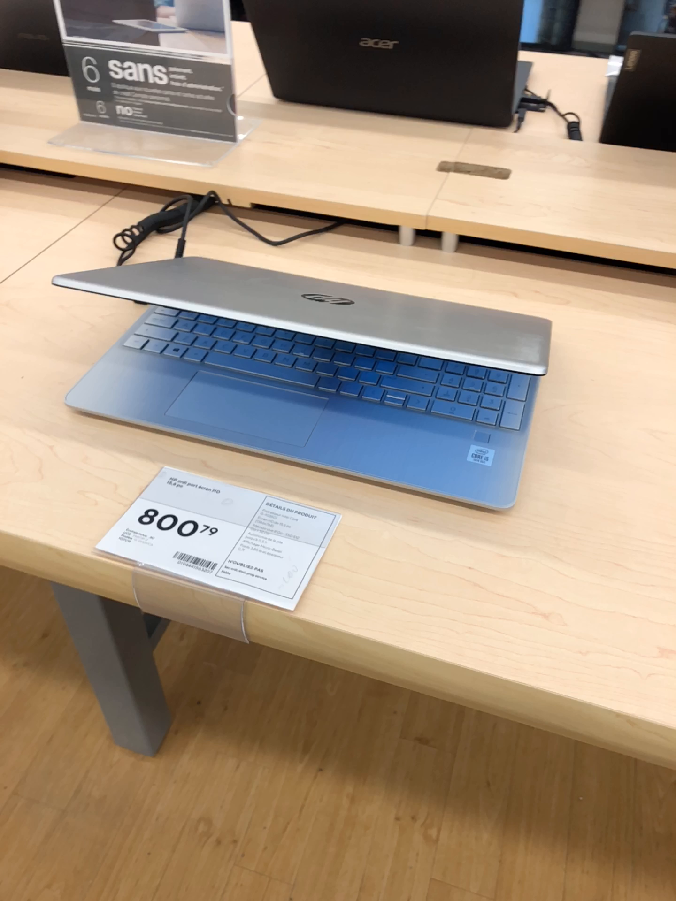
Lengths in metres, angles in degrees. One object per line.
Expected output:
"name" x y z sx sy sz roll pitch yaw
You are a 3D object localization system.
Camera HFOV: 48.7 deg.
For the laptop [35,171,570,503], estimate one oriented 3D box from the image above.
"laptop" -0.012 -0.107 0.585 0.340 0.086 0.224 13 46 12
